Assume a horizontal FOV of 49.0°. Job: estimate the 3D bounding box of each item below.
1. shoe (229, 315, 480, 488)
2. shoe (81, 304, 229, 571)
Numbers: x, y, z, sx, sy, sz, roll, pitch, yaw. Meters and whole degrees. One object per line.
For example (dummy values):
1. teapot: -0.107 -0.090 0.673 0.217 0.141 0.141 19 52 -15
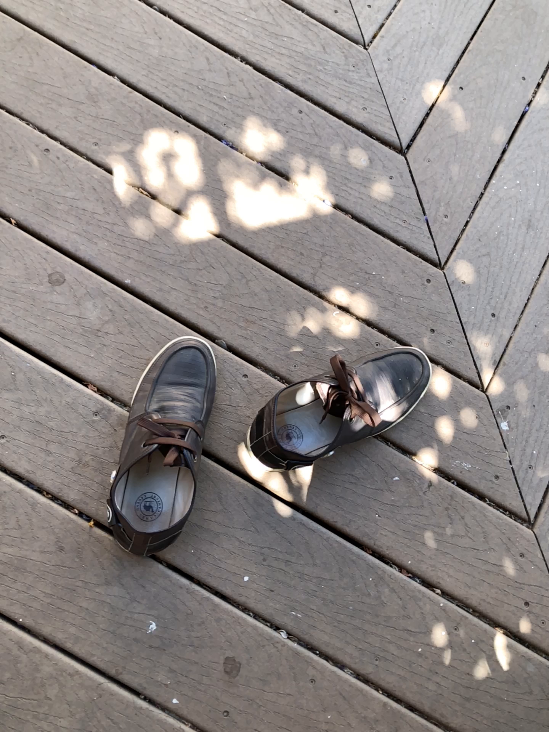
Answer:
1. shoe: 0.103 0.050 0.822 0.304 0.116 0.110 -22 80 -14
2. shoe: -0.145 0.092 0.770 0.110 0.116 0.302 12 74 -6
